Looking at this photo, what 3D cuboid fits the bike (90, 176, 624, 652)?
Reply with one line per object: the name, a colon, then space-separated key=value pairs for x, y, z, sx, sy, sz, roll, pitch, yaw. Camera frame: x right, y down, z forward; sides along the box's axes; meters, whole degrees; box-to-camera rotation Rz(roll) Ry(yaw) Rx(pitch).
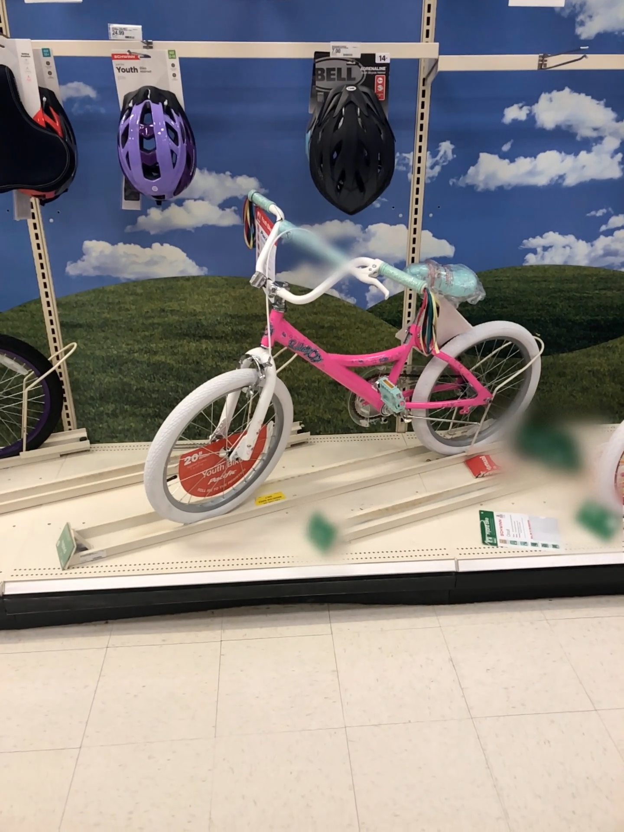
bike: x=0.169 y=-0.129 z=1.999 sx=1.347 sy=0.882 sz=0.730 roll=-14 pitch=29 yaw=-22
